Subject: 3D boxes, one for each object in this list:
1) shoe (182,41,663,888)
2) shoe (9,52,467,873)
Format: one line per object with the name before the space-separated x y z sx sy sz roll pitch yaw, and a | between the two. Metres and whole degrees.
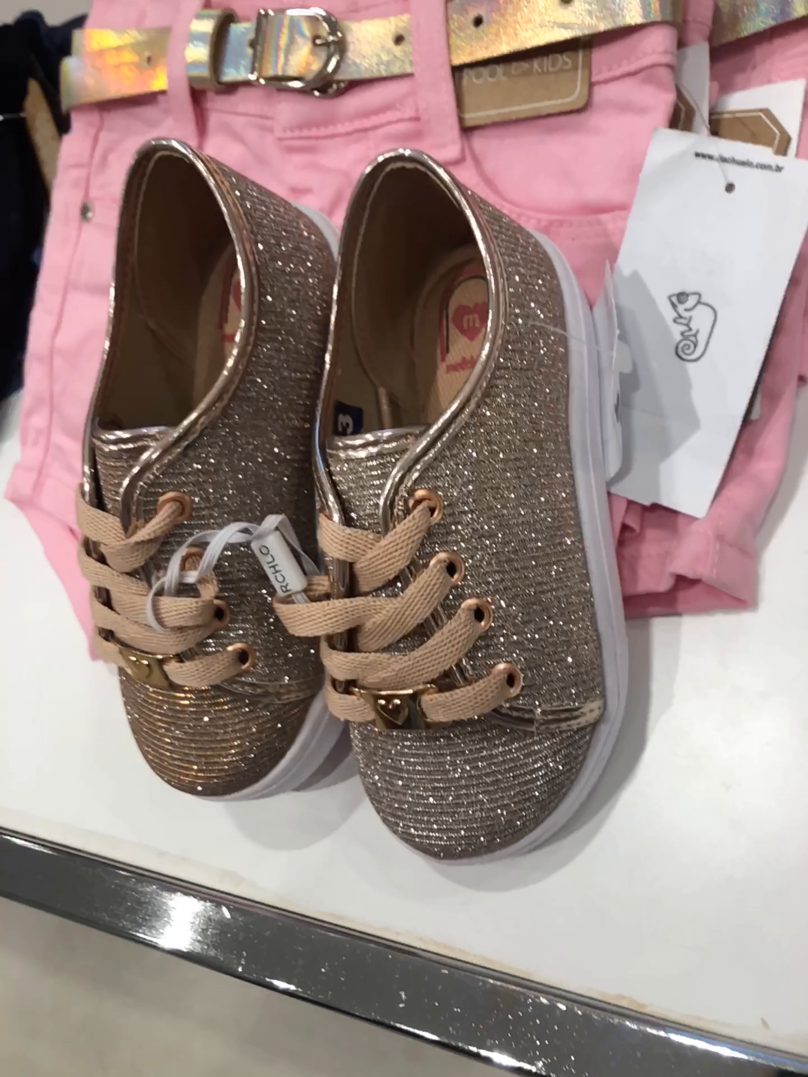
shoe | 0.010 -0.011 0.224 0.080 0.080 0.170 -6 73 27
shoe | -0.040 -0.017 0.239 0.070 0.080 0.170 4 89 32
